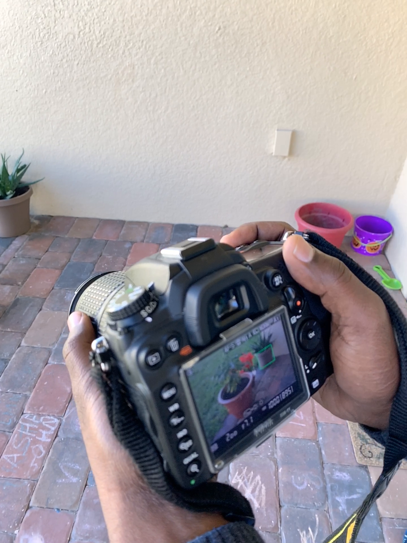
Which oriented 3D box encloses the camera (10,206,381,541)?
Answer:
[{"bbox_3d":[-0.021,0.030,0.271,0.131,0.100,0.200,-25,17,-31],"label":"camera"}]
